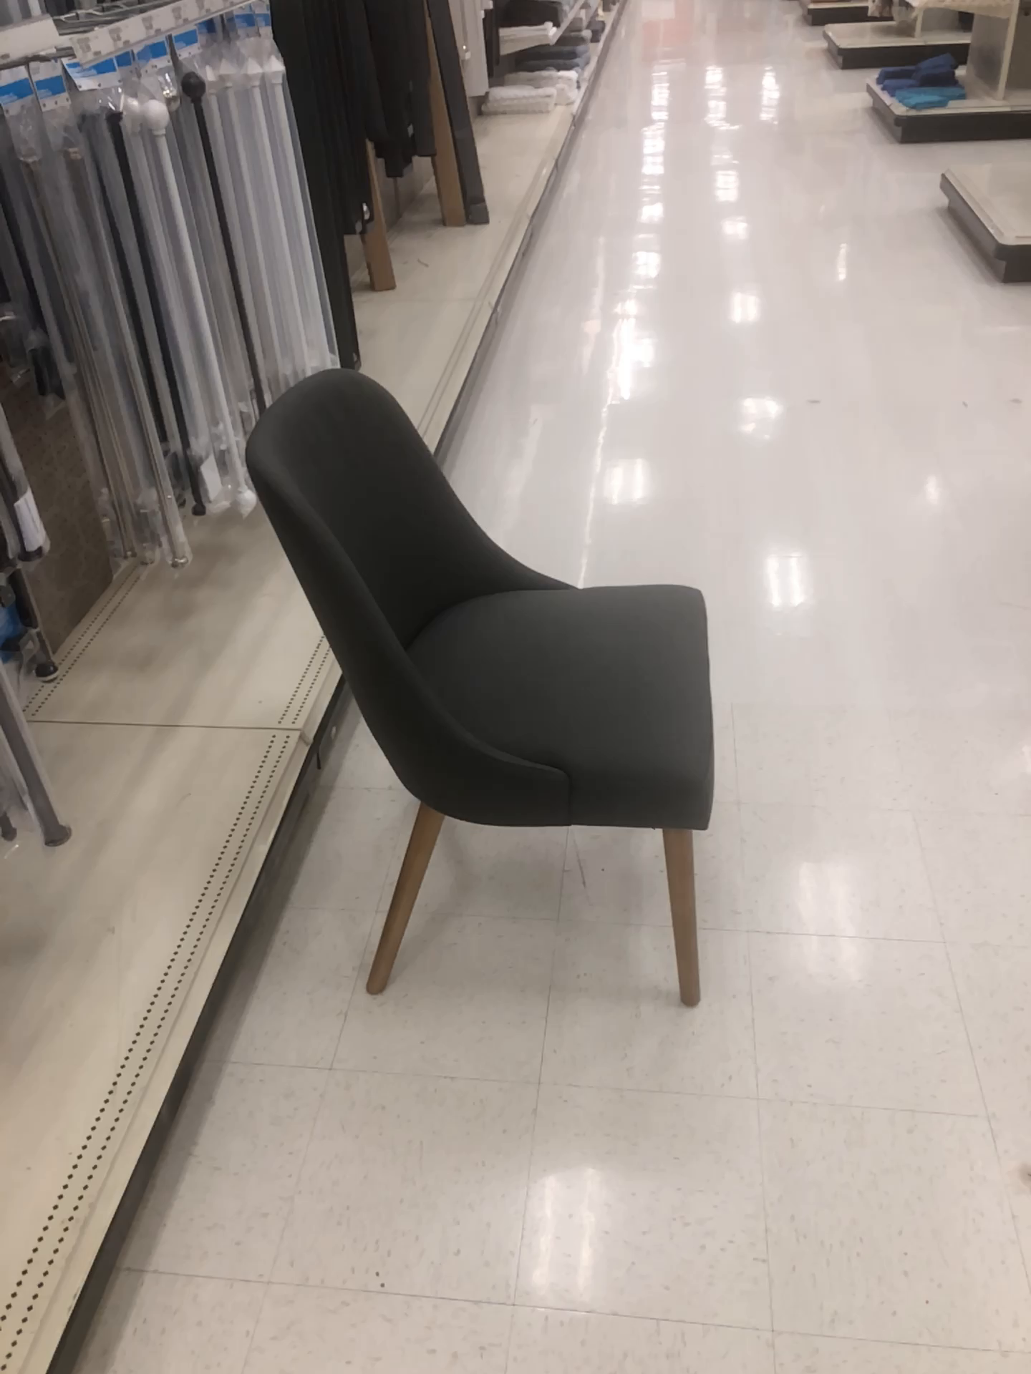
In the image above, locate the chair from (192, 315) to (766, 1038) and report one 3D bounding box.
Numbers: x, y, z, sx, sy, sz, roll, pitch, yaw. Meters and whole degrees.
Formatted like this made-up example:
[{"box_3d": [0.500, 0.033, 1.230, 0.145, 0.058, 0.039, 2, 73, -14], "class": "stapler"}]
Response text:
[{"box_3d": [0.009, -0.004, 1.598, 0.586, 0.859, 0.516, 1, 36, 7], "class": "chair"}]
